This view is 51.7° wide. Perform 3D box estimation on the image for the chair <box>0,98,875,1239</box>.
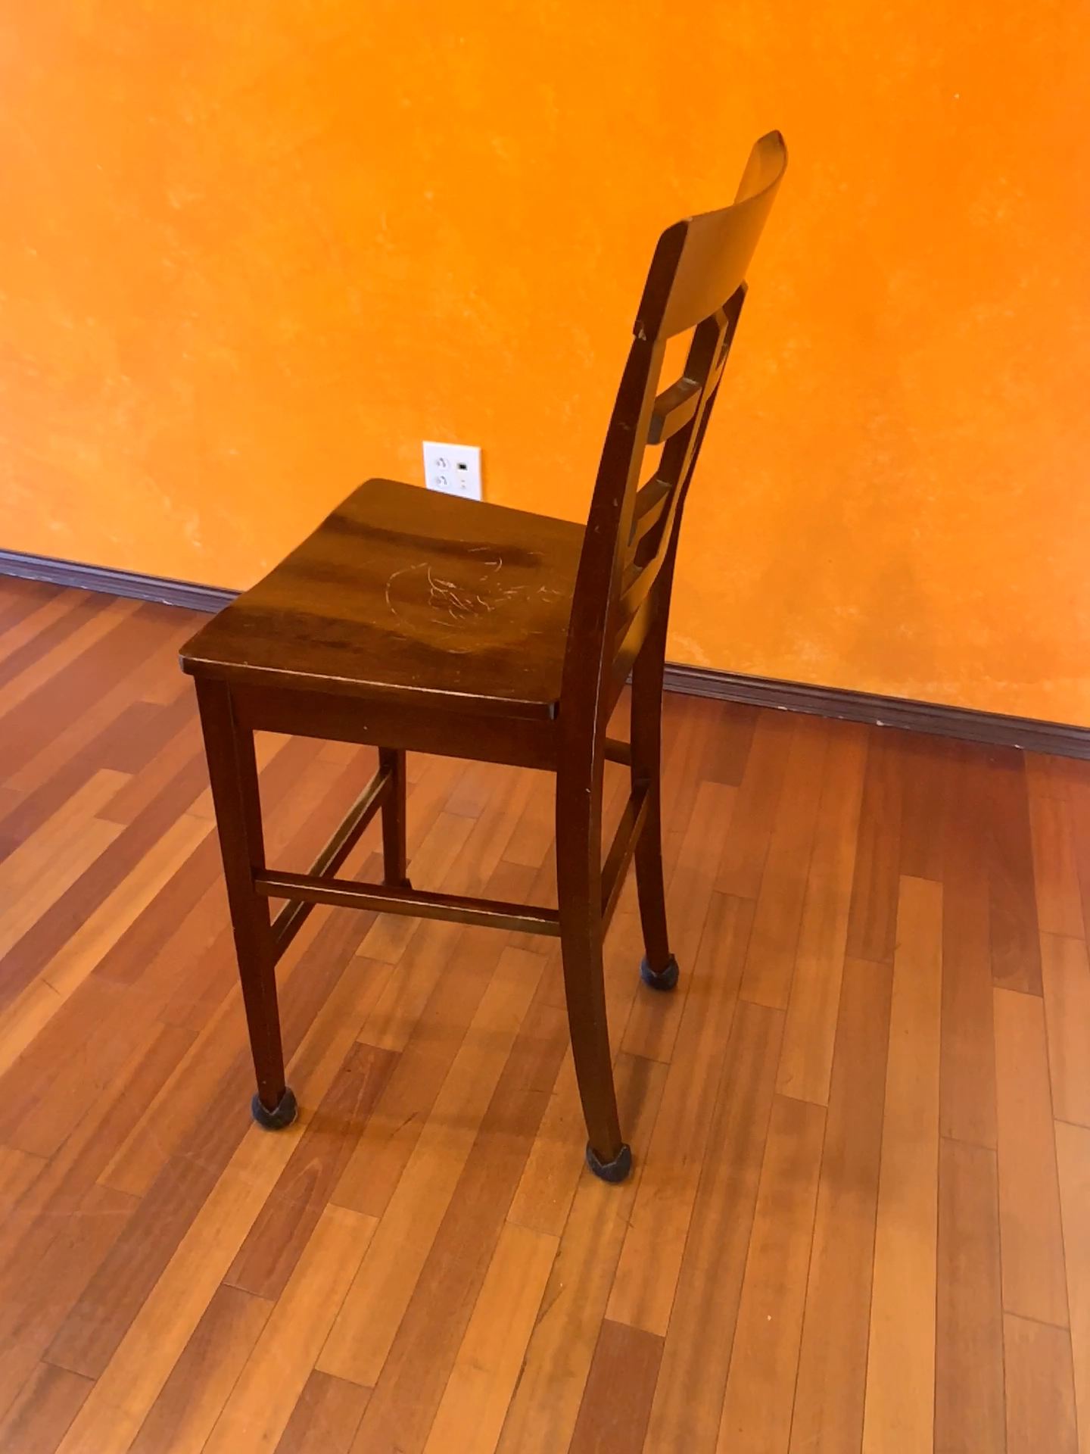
[{"bbox_3d":[-0.063,-0.065,1.187,0.592,0.987,0.535,11,35,14],"label":"chair"}]
